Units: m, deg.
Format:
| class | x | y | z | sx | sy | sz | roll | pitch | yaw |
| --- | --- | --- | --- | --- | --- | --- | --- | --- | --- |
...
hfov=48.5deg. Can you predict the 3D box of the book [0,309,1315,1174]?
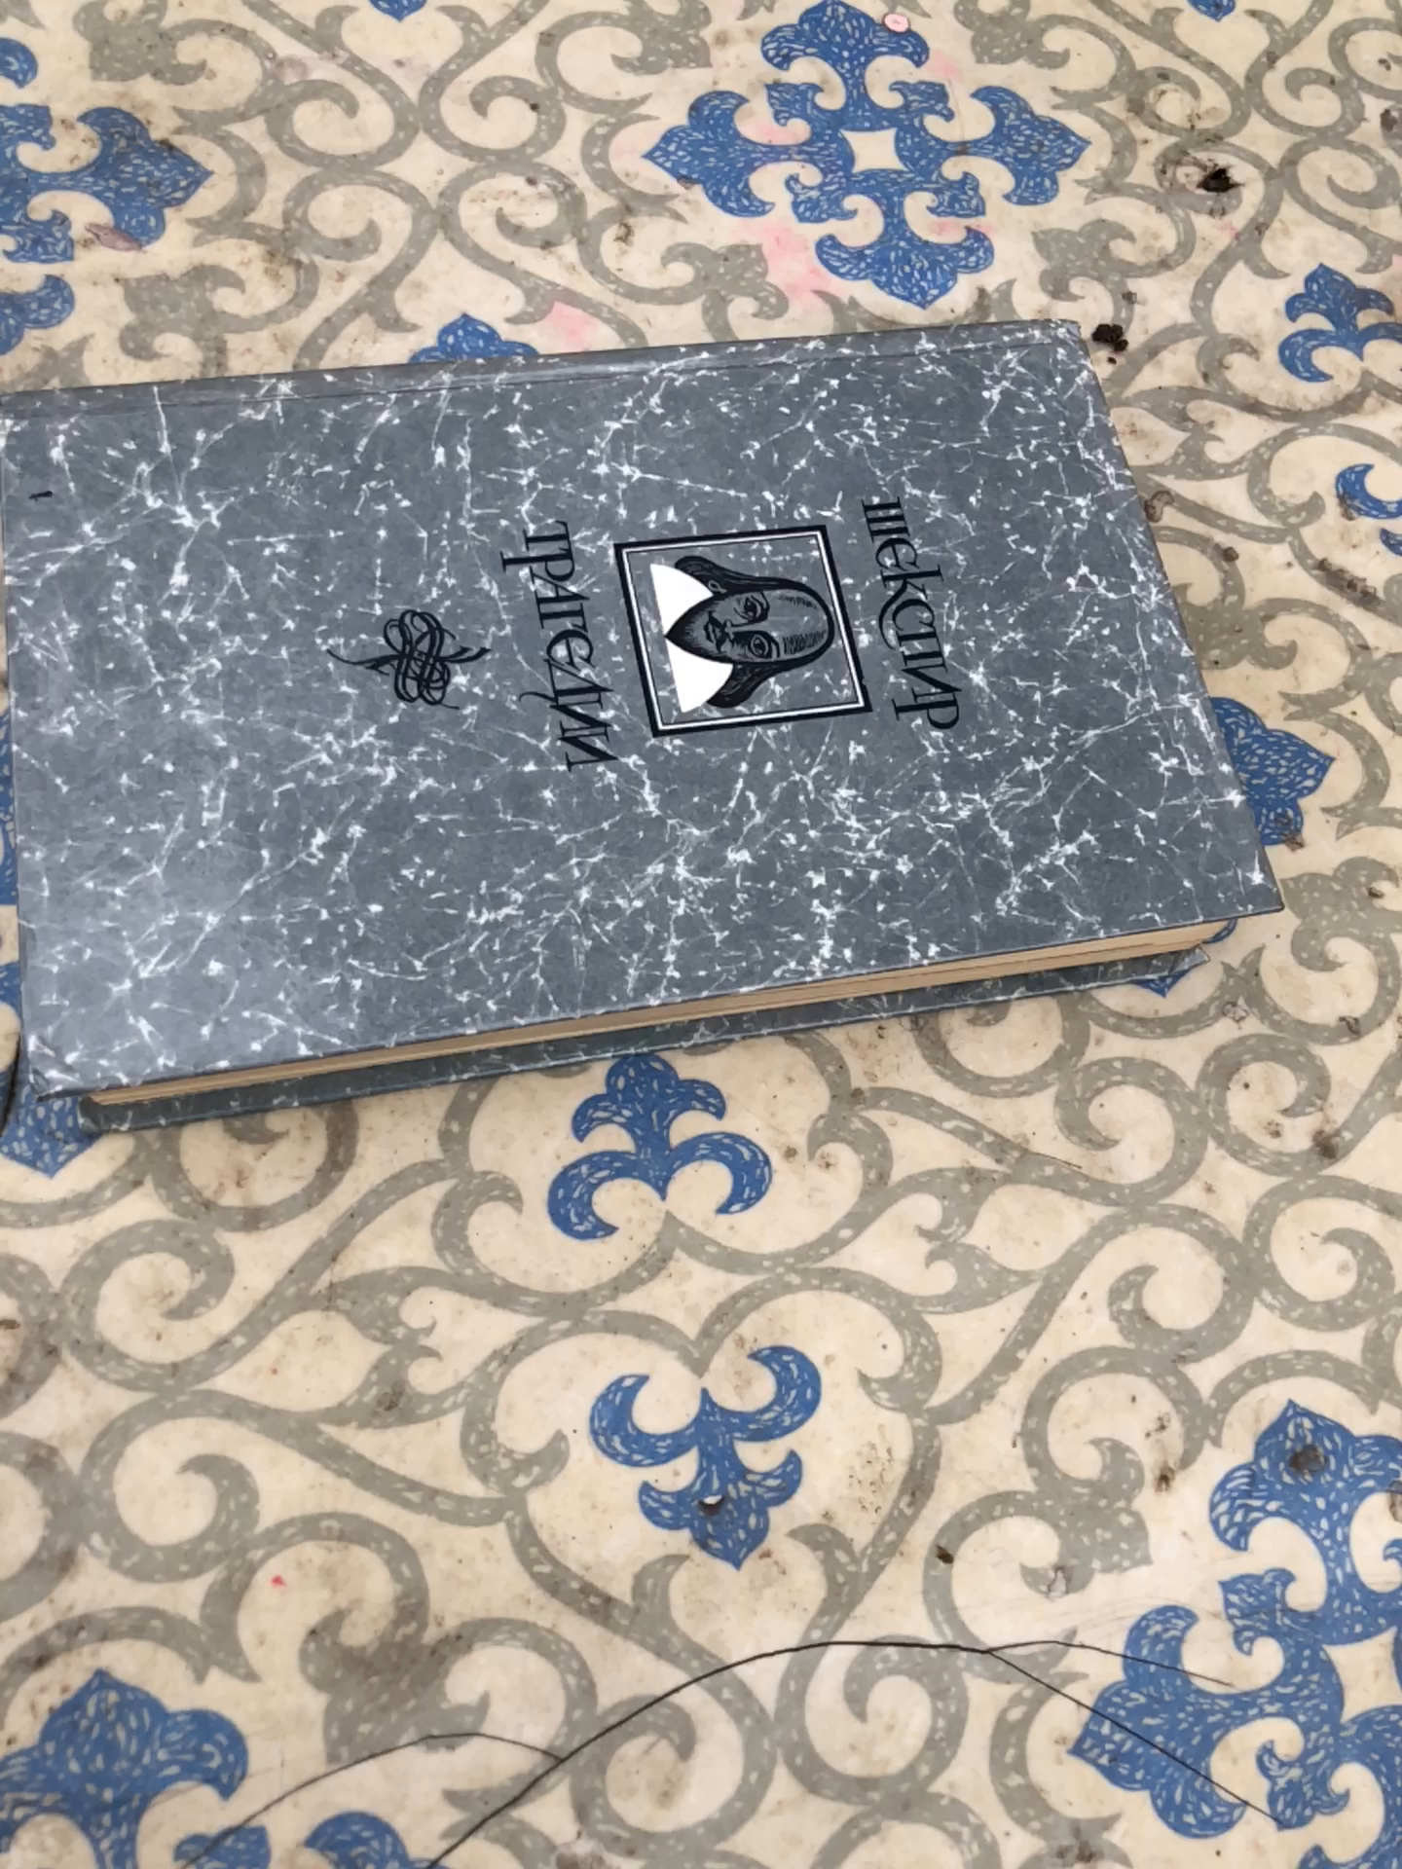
| class | x | y | z | sx | sy | sz | roll | pitch | yaw |
| --- | --- | --- | --- | --- | --- | --- | --- | --- | --- |
| book | -0.012 | -0.042 | 0.283 | 0.207 | 0.033 | 0.134 | -8 | 69 | -9 |
